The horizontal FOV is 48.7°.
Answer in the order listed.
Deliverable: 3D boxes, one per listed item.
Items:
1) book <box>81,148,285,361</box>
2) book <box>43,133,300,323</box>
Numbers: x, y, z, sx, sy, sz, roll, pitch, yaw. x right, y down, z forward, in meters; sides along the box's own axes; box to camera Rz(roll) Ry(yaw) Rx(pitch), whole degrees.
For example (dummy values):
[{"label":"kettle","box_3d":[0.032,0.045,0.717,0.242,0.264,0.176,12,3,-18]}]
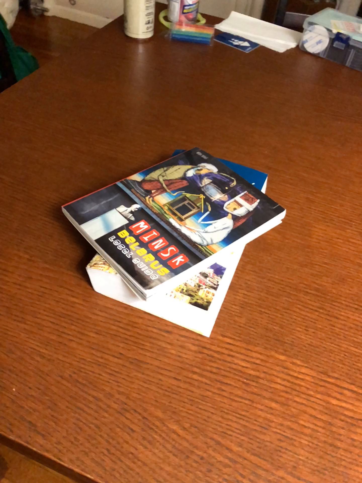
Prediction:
[{"label":"book","box_3d":[0.015,-0.006,0.415,0.130,0.040,0.221,20,48,12]},{"label":"book","box_3d":[-0.006,-0.031,0.383,0.191,0.020,0.150,-30,57,-30]}]
